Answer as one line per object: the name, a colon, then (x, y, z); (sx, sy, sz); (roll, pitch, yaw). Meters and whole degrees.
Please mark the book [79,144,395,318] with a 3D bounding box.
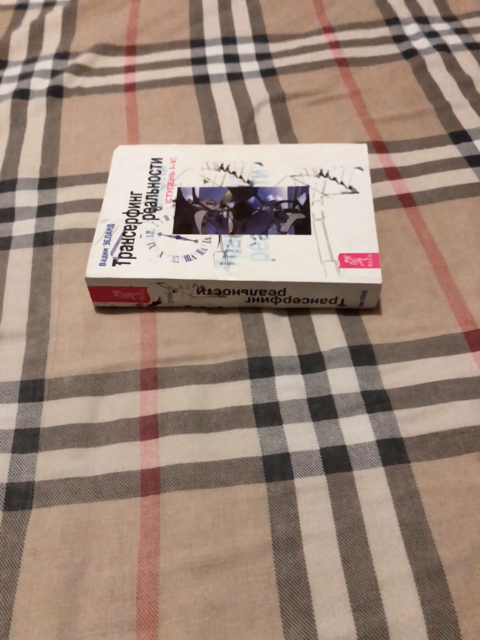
book: (-0.002, -0.071, 0.396); (0.202, 0.037, 0.144); (0, 54, 0)
